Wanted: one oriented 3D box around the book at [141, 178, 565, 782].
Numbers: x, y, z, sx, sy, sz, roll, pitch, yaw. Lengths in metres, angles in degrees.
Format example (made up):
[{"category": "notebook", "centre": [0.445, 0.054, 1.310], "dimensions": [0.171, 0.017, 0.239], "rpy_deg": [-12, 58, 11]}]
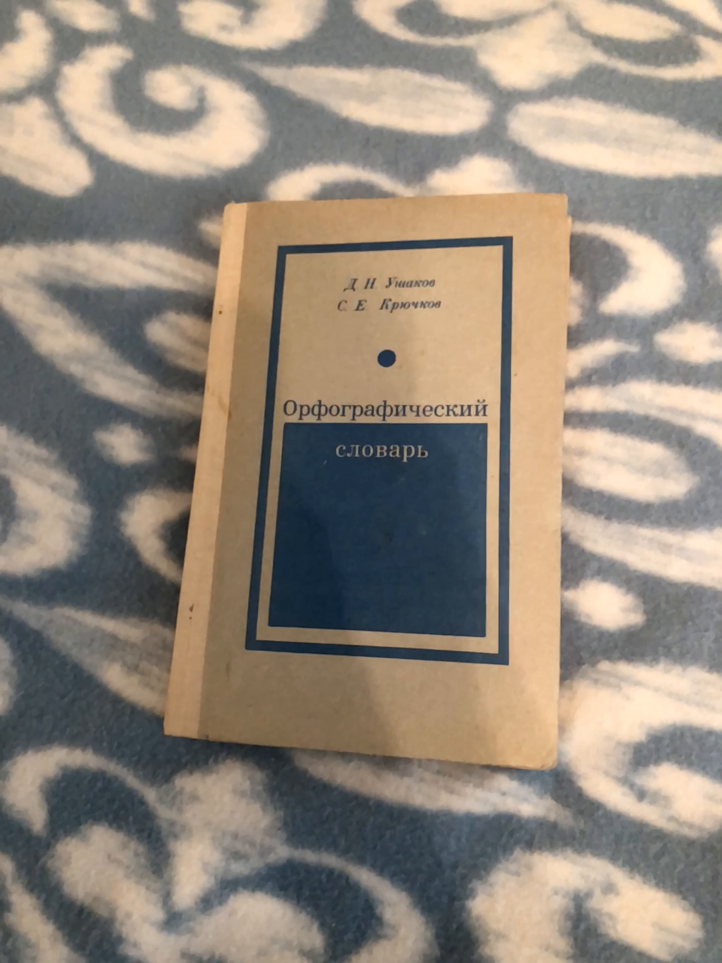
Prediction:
[{"category": "book", "centre": [0.002, -0.009, 0.294], "dimensions": [0.136, 0.022, 0.210], "rpy_deg": [2, 77, 10]}]
